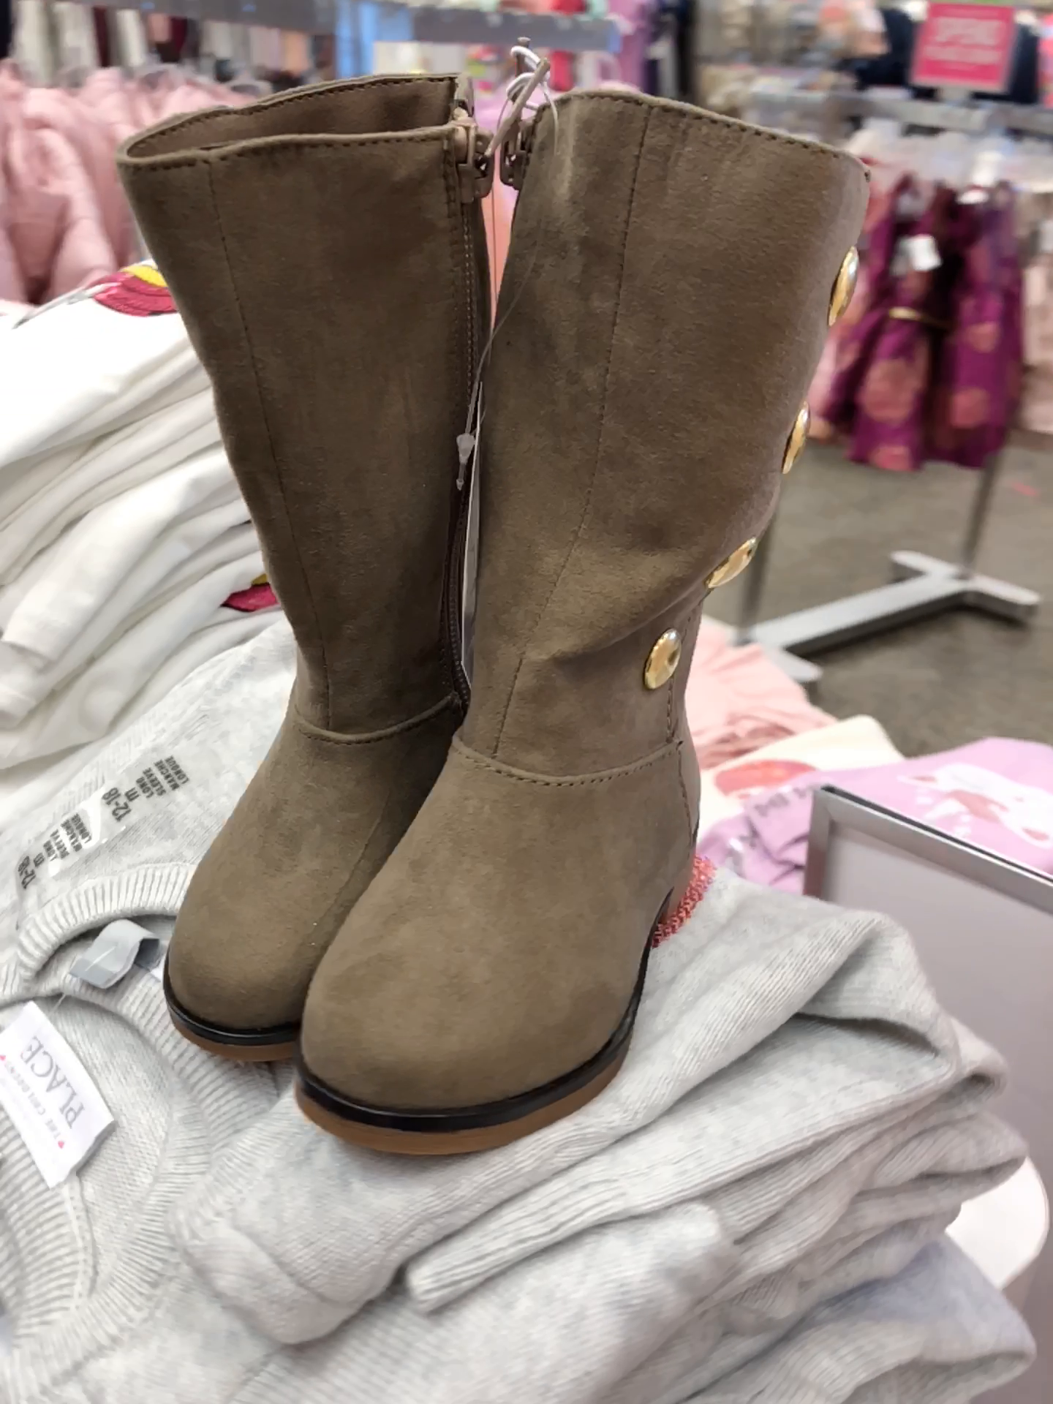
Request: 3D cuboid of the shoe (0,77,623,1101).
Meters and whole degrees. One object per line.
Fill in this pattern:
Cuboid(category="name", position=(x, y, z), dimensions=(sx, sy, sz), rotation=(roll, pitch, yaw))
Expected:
Cuboid(category="shoe", position=(-0.044, -0.035, 0.262), dimensions=(0.070, 0.164, 0.155), rotation=(14, 39, 25))

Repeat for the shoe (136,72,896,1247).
Cuboid(category="shoe", position=(0.010, -0.022, 0.243), dimensions=(0.070, 0.184, 0.148), rotation=(14, 28, 24))
